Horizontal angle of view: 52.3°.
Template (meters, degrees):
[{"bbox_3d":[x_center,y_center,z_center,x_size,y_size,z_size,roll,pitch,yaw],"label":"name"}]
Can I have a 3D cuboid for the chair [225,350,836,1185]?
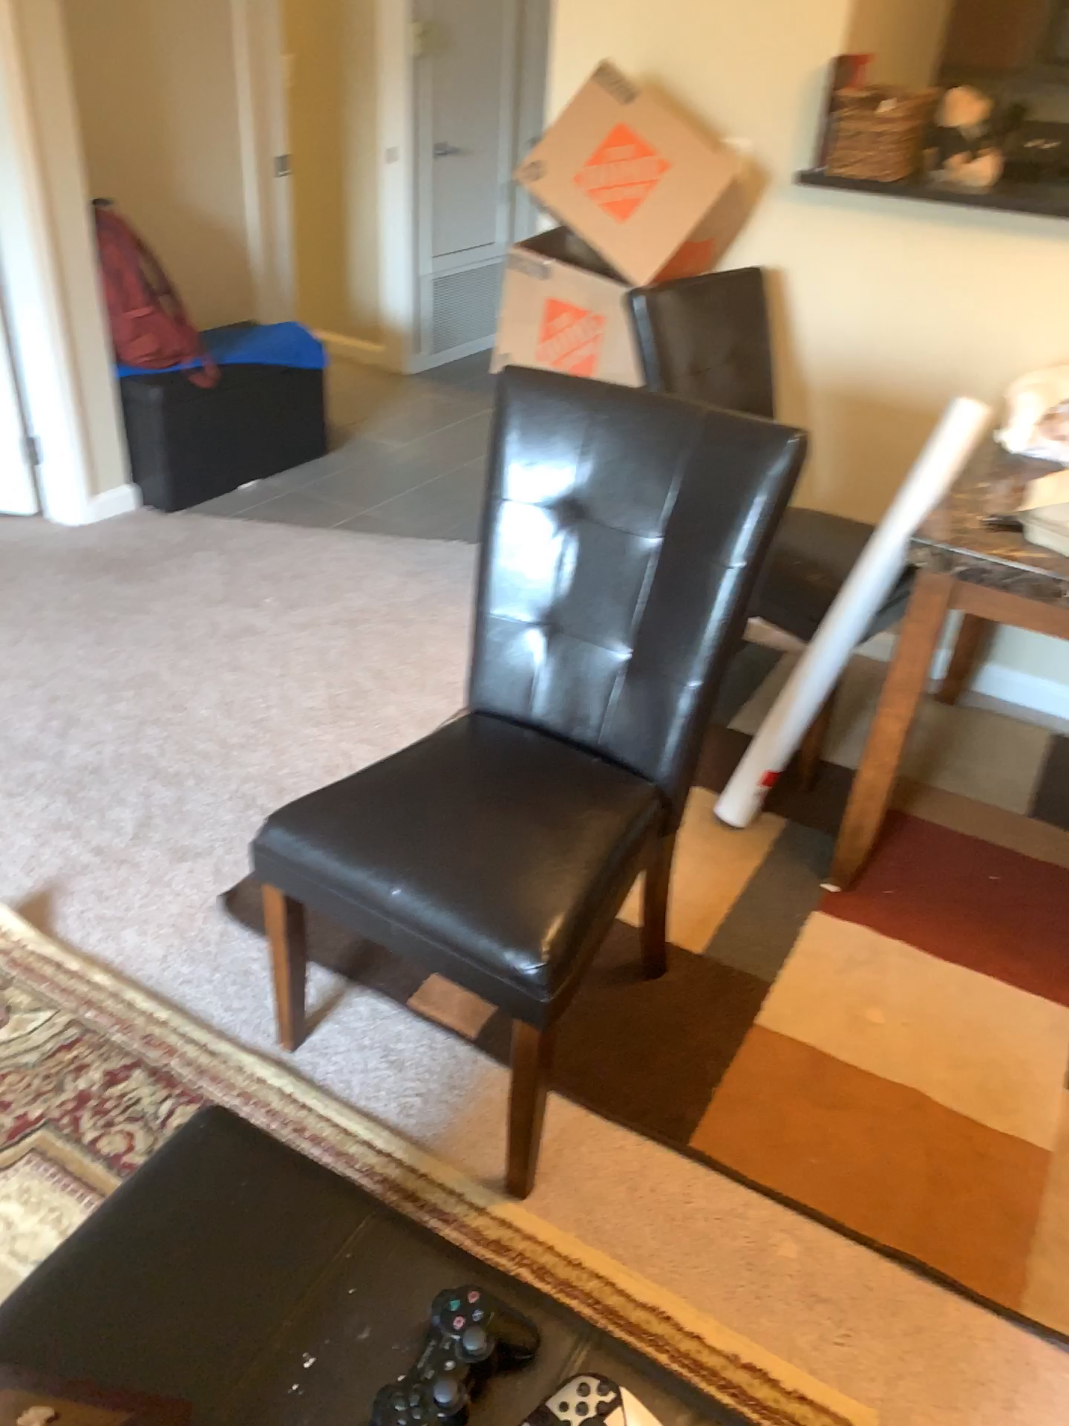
[{"bbox_3d":[0.004,0.041,1.597,0.491,0.915,0.652,21,36,25],"label":"chair"}]
